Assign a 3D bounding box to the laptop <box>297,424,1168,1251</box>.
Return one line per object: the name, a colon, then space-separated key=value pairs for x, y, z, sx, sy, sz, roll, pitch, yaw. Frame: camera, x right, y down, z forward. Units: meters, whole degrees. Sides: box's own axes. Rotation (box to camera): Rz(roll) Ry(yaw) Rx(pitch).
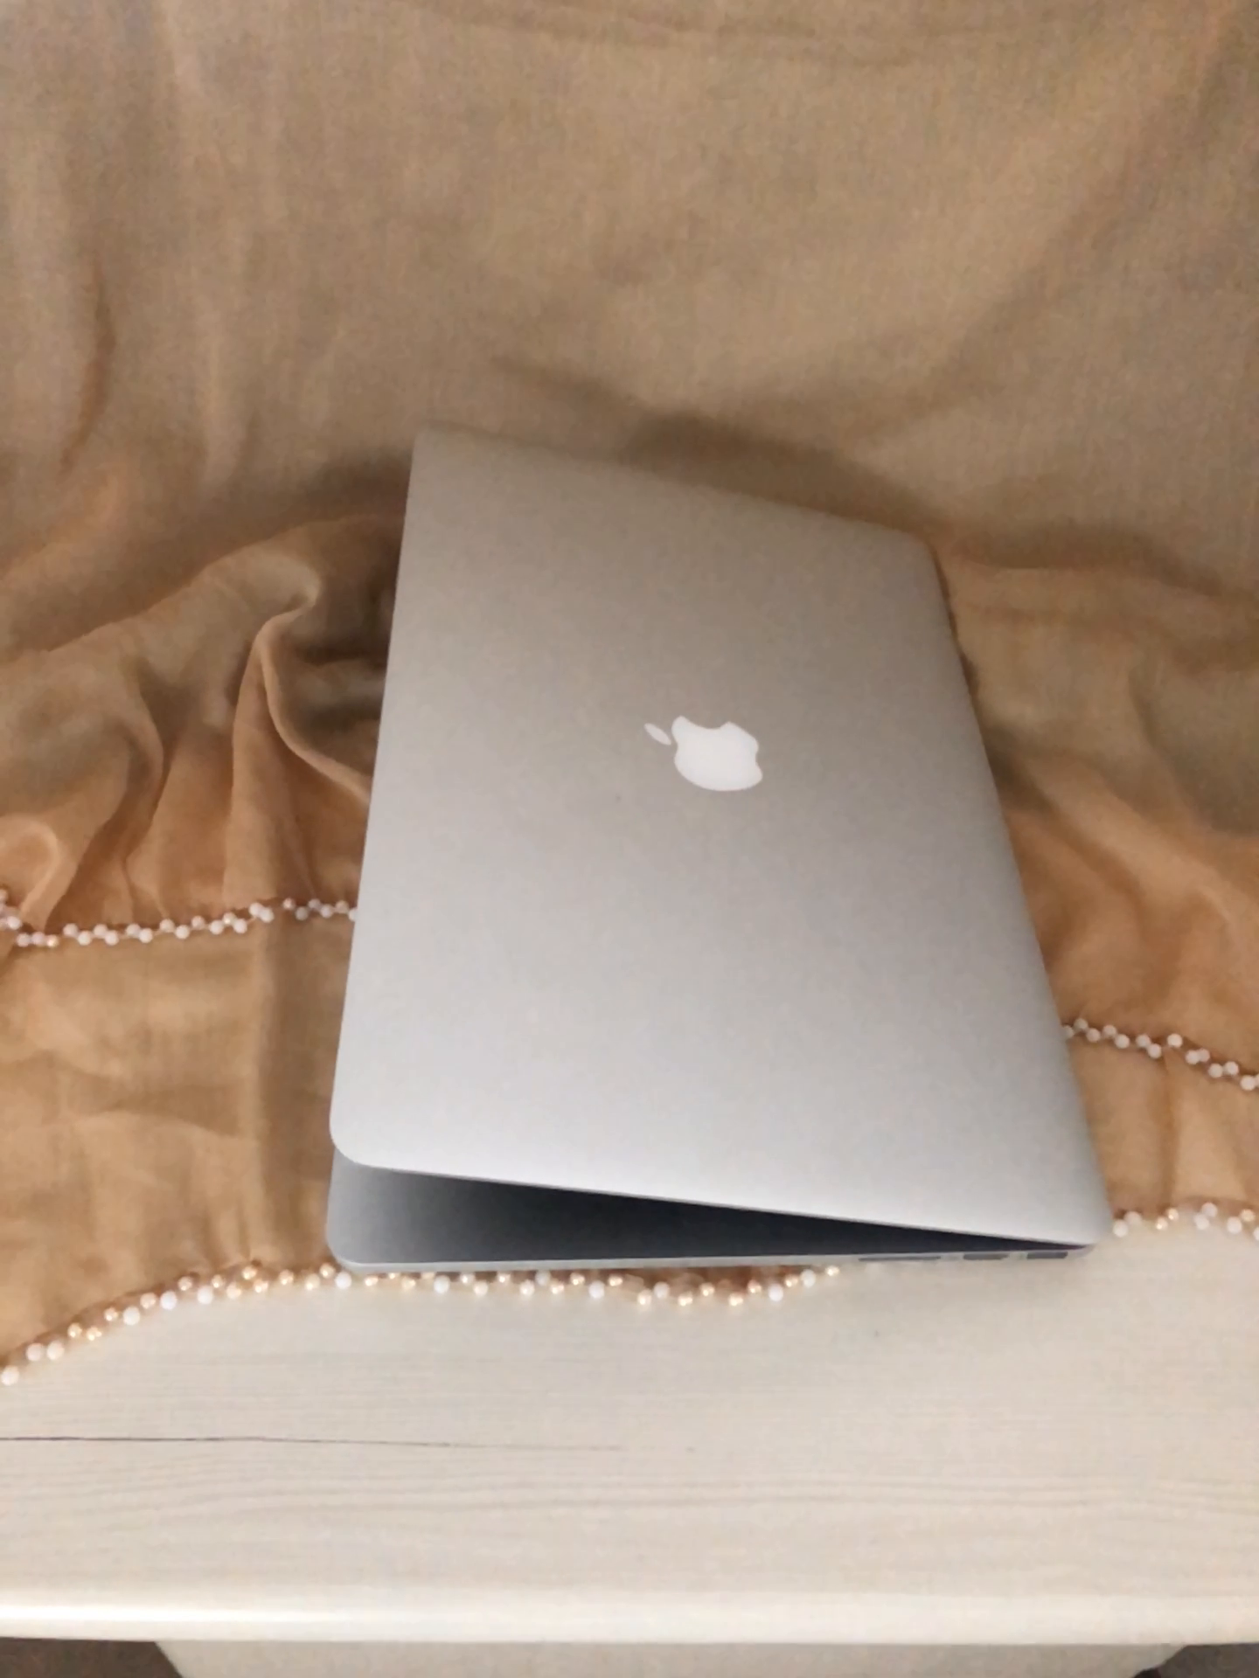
laptop: x=0.023 y=-0.027 z=0.522 sx=0.239 sy=0.063 sz=0.354 roll=0 pitch=48 yaw=-2
